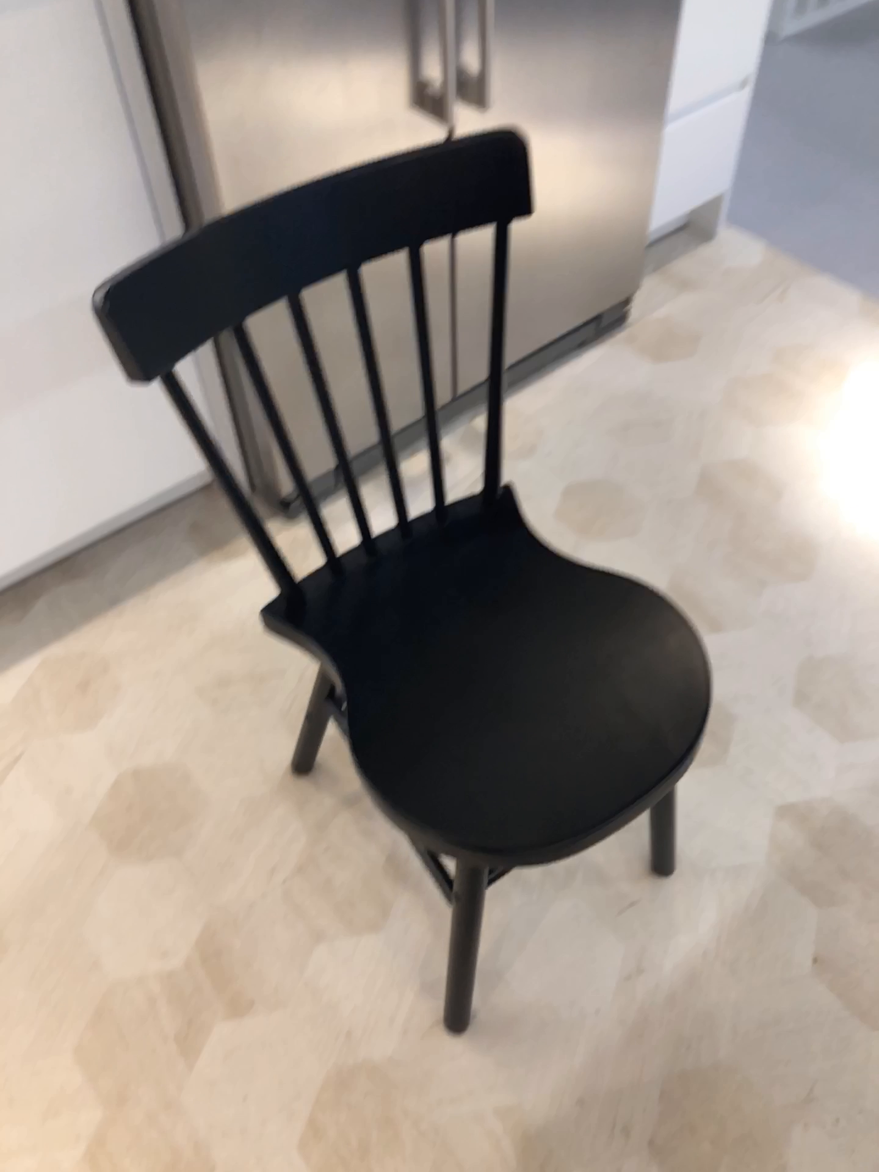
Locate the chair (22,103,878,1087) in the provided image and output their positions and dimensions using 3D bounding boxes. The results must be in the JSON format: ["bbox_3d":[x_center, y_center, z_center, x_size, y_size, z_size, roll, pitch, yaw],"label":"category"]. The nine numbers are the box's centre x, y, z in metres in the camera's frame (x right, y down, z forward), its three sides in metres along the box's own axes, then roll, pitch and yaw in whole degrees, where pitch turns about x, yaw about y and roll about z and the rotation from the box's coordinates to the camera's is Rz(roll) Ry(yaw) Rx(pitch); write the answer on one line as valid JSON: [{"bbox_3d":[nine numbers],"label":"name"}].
[{"bbox_3d":[0.023,0.044,0.991,0.481,0.746,0.513,-28,55,-20],"label":"chair"}]
